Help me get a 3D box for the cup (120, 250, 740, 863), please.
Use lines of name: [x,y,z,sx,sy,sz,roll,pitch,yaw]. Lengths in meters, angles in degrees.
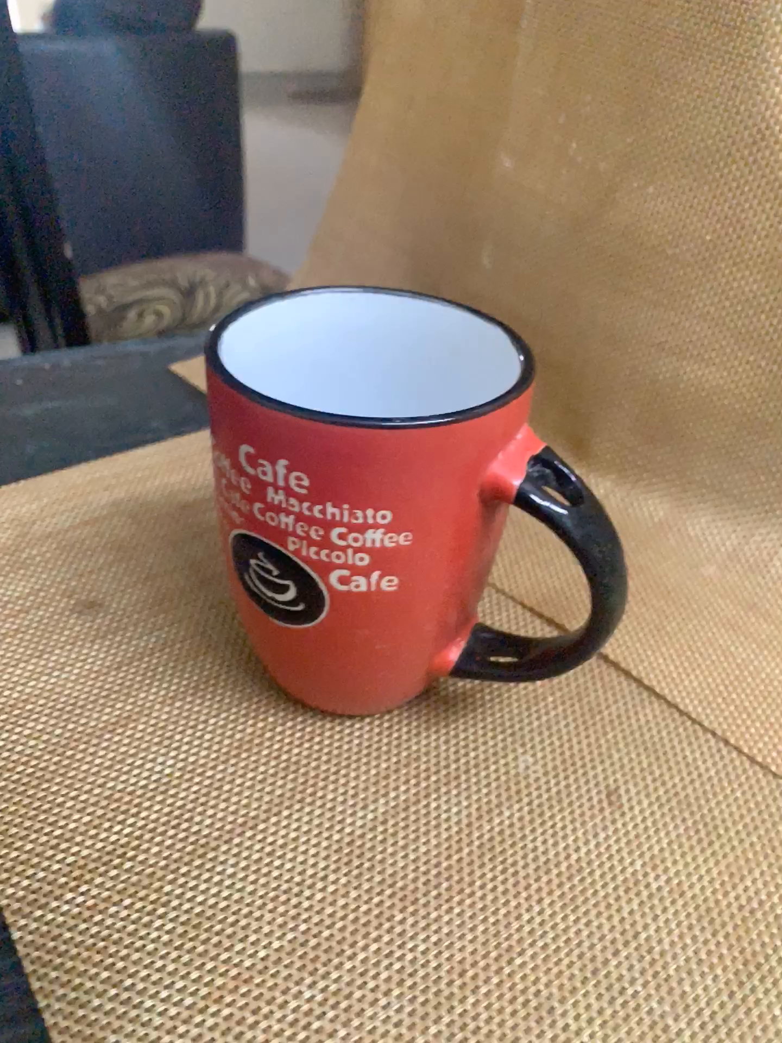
cup: [0.011,0.000,0.222,0.120,0.099,0.091,19,37,18]
